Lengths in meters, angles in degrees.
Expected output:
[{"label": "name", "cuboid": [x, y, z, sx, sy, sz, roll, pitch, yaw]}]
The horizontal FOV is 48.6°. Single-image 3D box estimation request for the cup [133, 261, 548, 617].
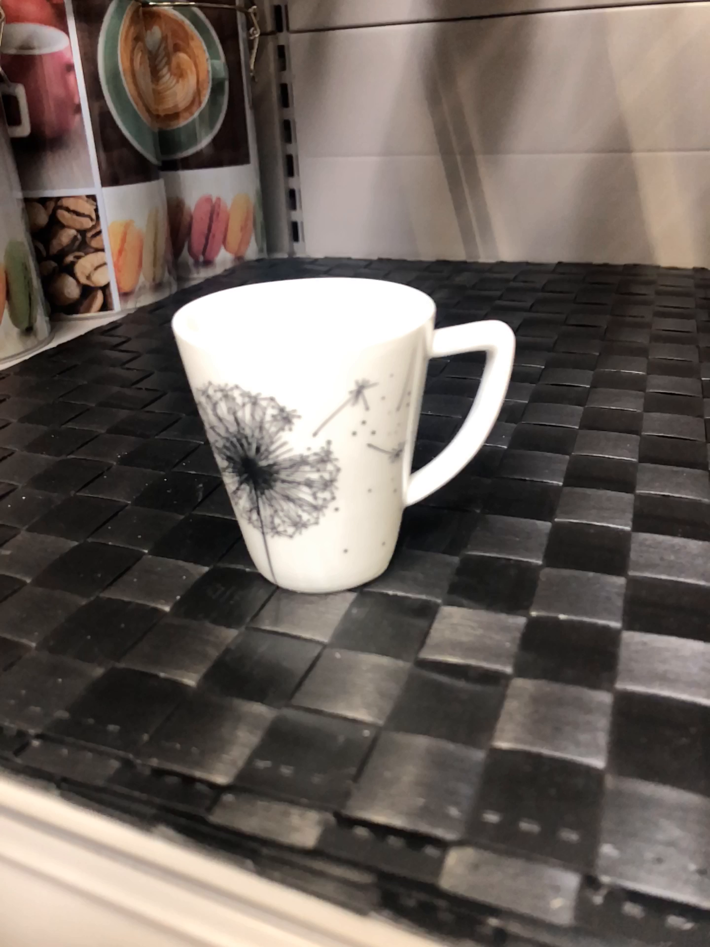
[{"label": "cup", "cuboid": [-0.004, -0.011, 0.192, 0.081, 0.060, 0.057, -5, 32, -5]}]
